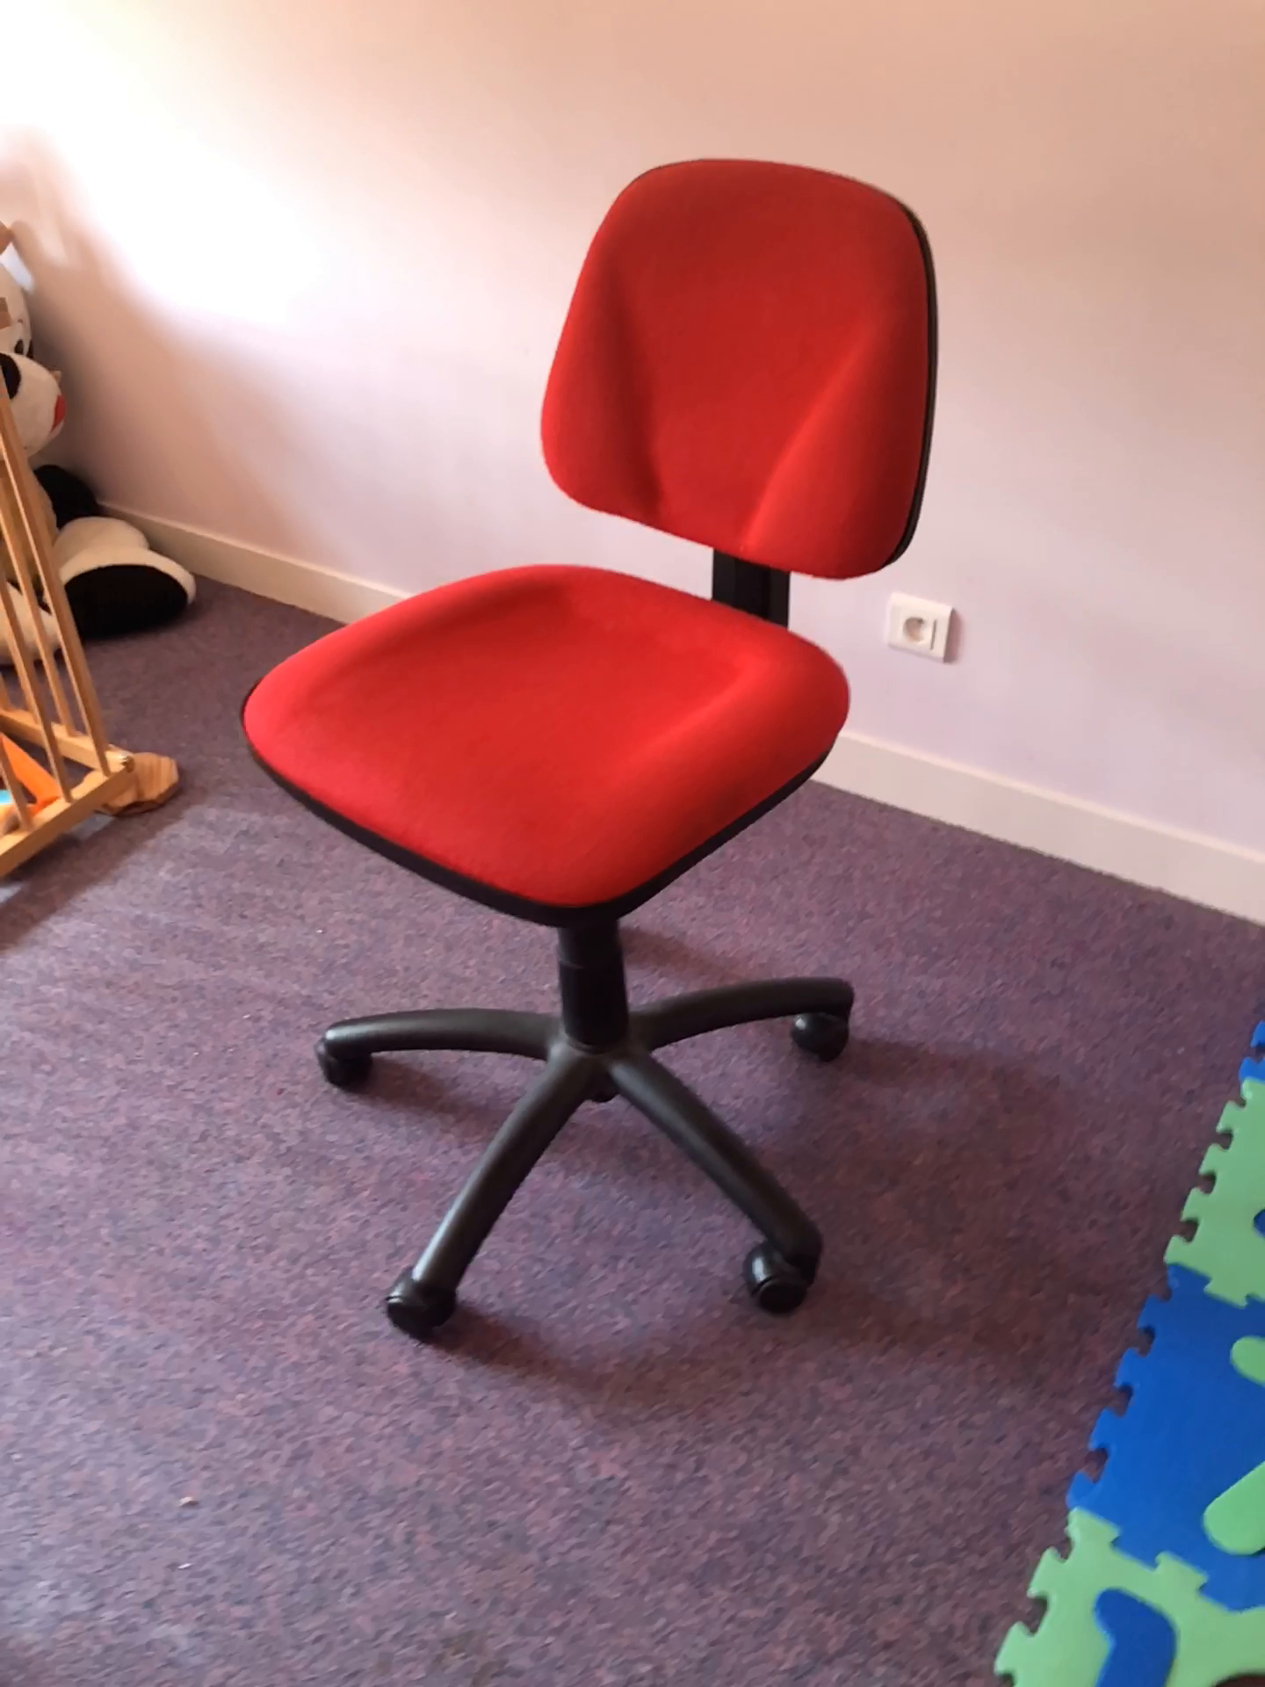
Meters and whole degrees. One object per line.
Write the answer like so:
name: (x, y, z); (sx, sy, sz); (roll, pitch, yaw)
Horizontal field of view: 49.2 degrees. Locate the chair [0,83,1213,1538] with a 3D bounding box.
chair: (-0.042, -0.086, 1.205); (0.640, 0.894, 0.674); (26, 44, 32)
